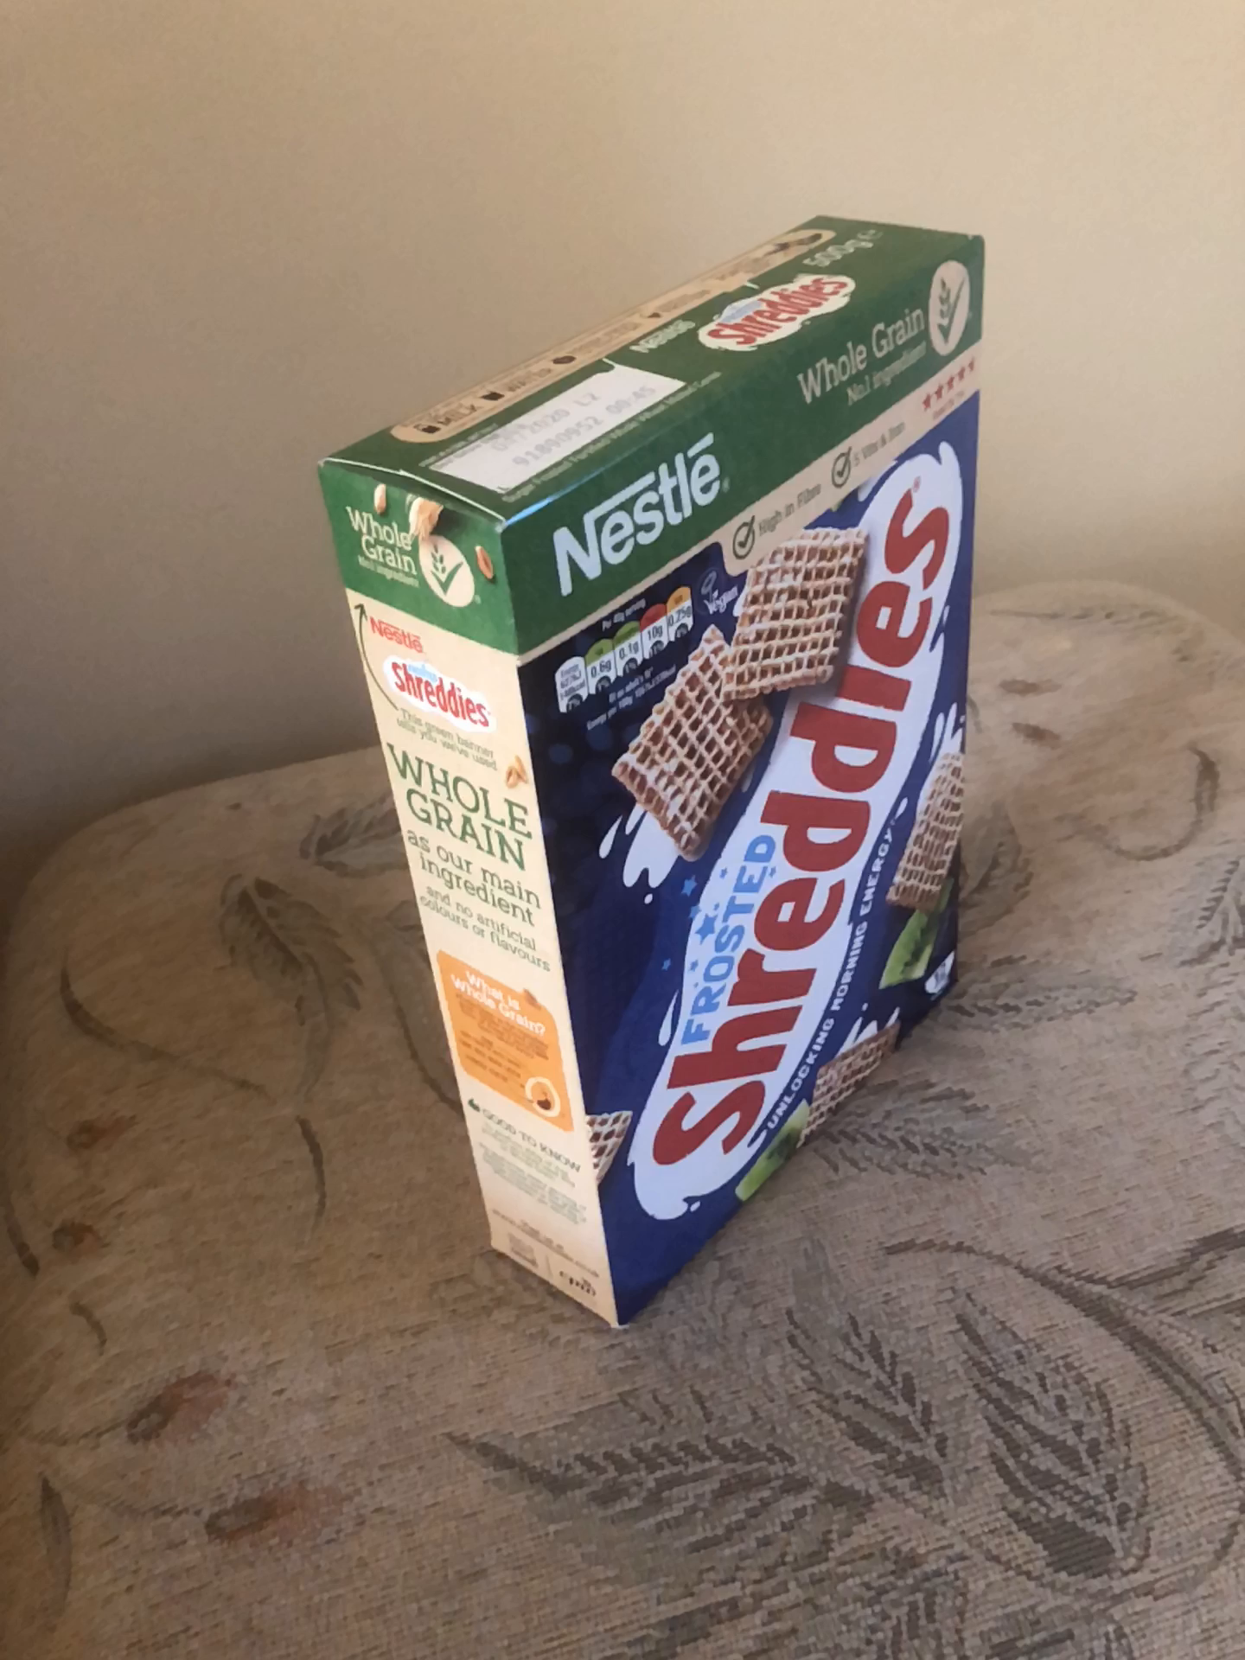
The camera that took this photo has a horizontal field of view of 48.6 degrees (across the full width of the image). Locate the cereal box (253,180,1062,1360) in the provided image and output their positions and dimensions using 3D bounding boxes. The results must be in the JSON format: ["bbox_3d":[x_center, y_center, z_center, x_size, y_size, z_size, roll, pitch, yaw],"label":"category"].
[{"bbox_3d":[0.030,-0.013,0.382,0.060,0.258,0.201,27,49,35],"label":"cereal box"}]
